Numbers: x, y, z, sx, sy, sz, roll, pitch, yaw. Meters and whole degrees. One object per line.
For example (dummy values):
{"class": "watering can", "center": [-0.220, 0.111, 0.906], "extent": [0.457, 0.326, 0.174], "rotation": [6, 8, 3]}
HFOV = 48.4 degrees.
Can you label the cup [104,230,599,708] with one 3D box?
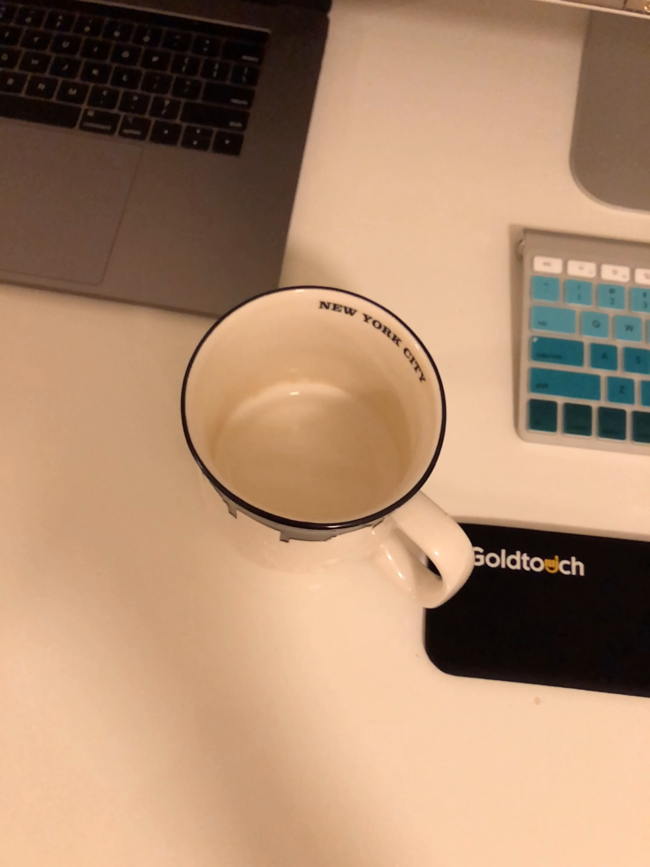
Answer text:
{"class": "cup", "center": [0.007, 0.018, 0.309], "extent": [0.110, 0.090, 0.150], "rotation": [-41, 77, -18]}
